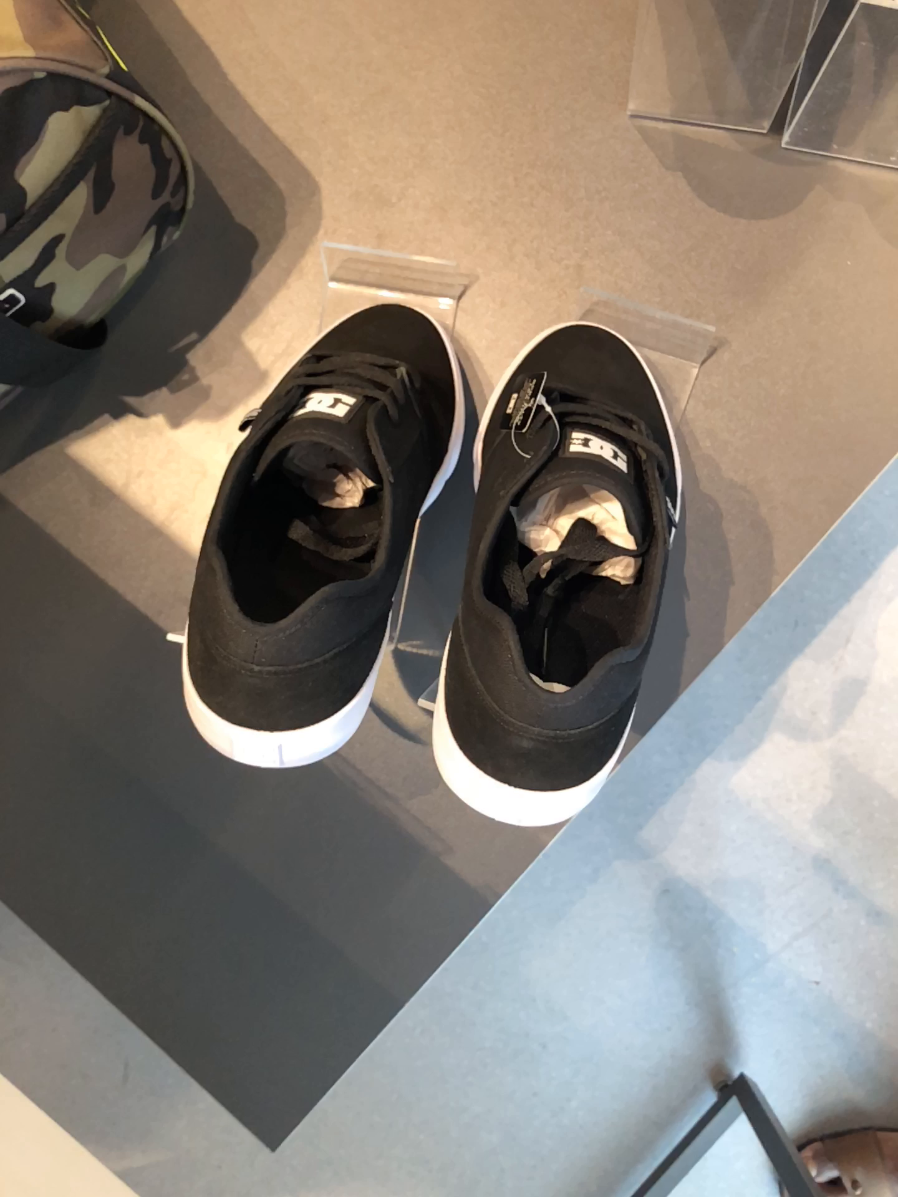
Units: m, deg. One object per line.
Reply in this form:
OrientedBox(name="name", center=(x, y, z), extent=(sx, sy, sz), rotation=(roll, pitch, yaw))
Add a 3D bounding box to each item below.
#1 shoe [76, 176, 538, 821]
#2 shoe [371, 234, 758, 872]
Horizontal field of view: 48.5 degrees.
OrientedBox(name="shoe", center=(-0.042, -0.048, 0.404), extent=(0.106, 0.107, 0.229), rotation=(13, 55, 2))
OrientedBox(name="shoe", center=(0.052, -0.026, 0.415), extent=(0.106, 0.107, 0.229), rotation=(14, 55, 1))
